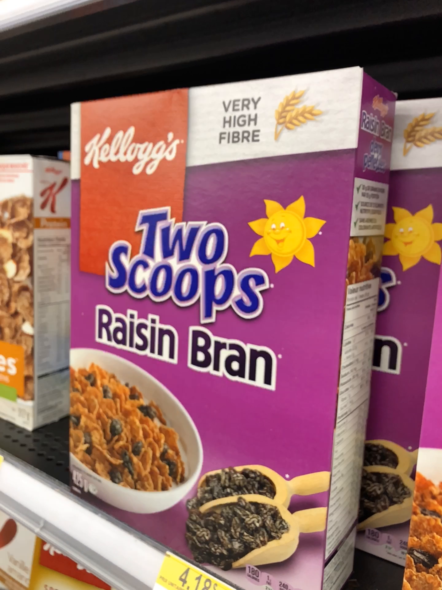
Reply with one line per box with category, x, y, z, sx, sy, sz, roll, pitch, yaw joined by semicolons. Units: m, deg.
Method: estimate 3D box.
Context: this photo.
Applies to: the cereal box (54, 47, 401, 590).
cereal box;-0.014;0.016;0.299;0.200;0.269;0.050;9;11;34
